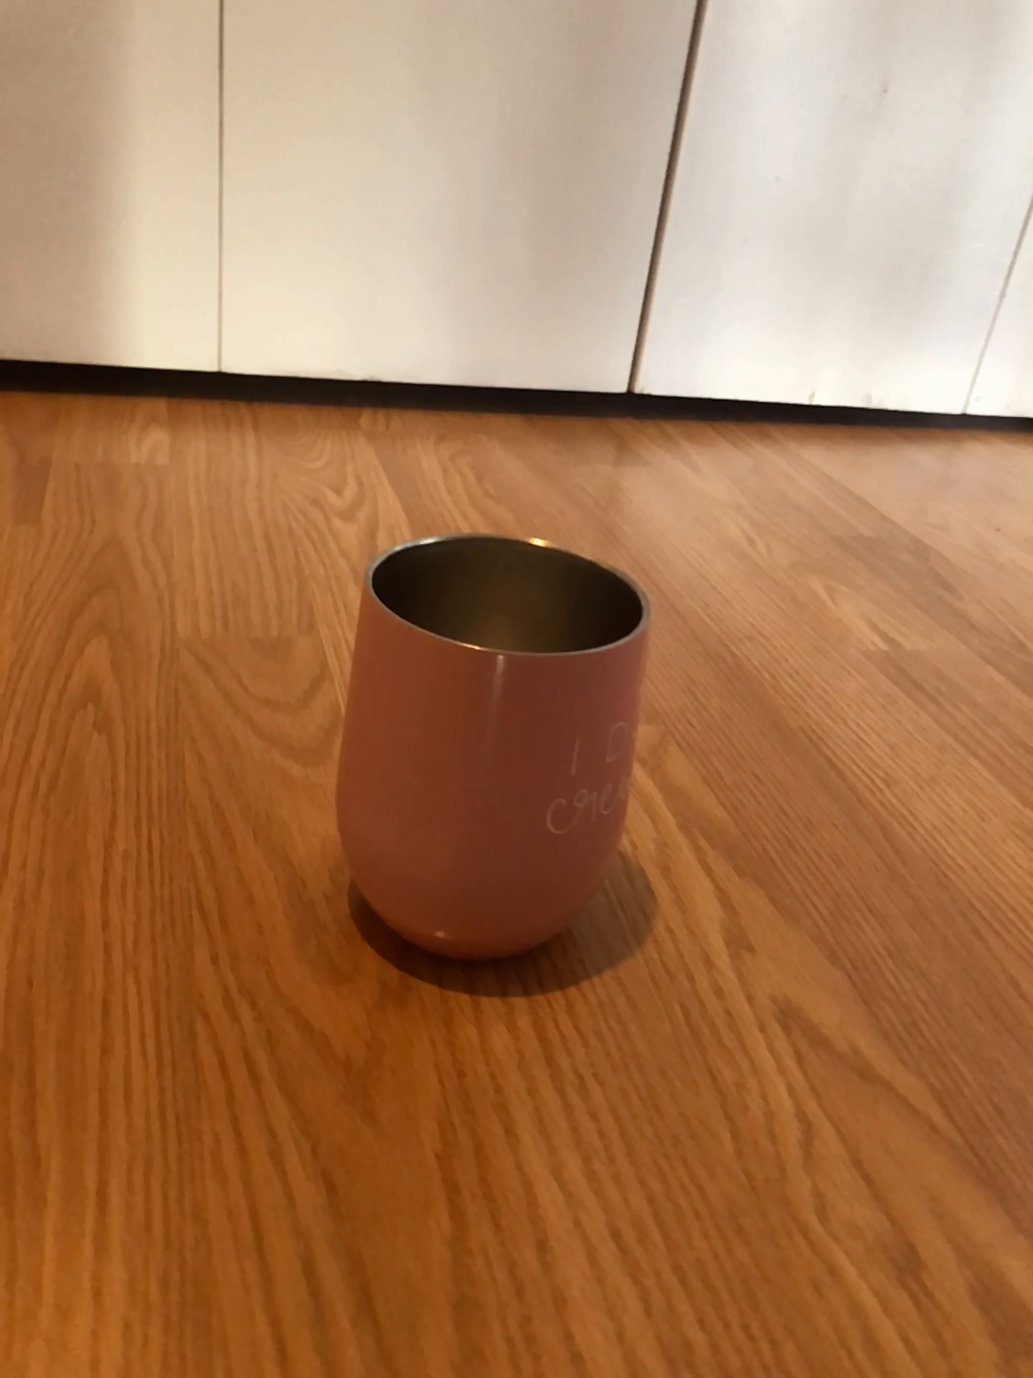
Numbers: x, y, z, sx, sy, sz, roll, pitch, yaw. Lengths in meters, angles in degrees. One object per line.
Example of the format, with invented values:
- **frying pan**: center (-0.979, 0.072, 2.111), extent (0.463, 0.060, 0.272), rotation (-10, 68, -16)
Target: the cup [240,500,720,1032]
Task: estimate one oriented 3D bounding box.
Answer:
- **cup**: center (-0.014, 0.015, 0.330), extent (0.090, 0.100, 0.090), rotation (7, 28, -4)
